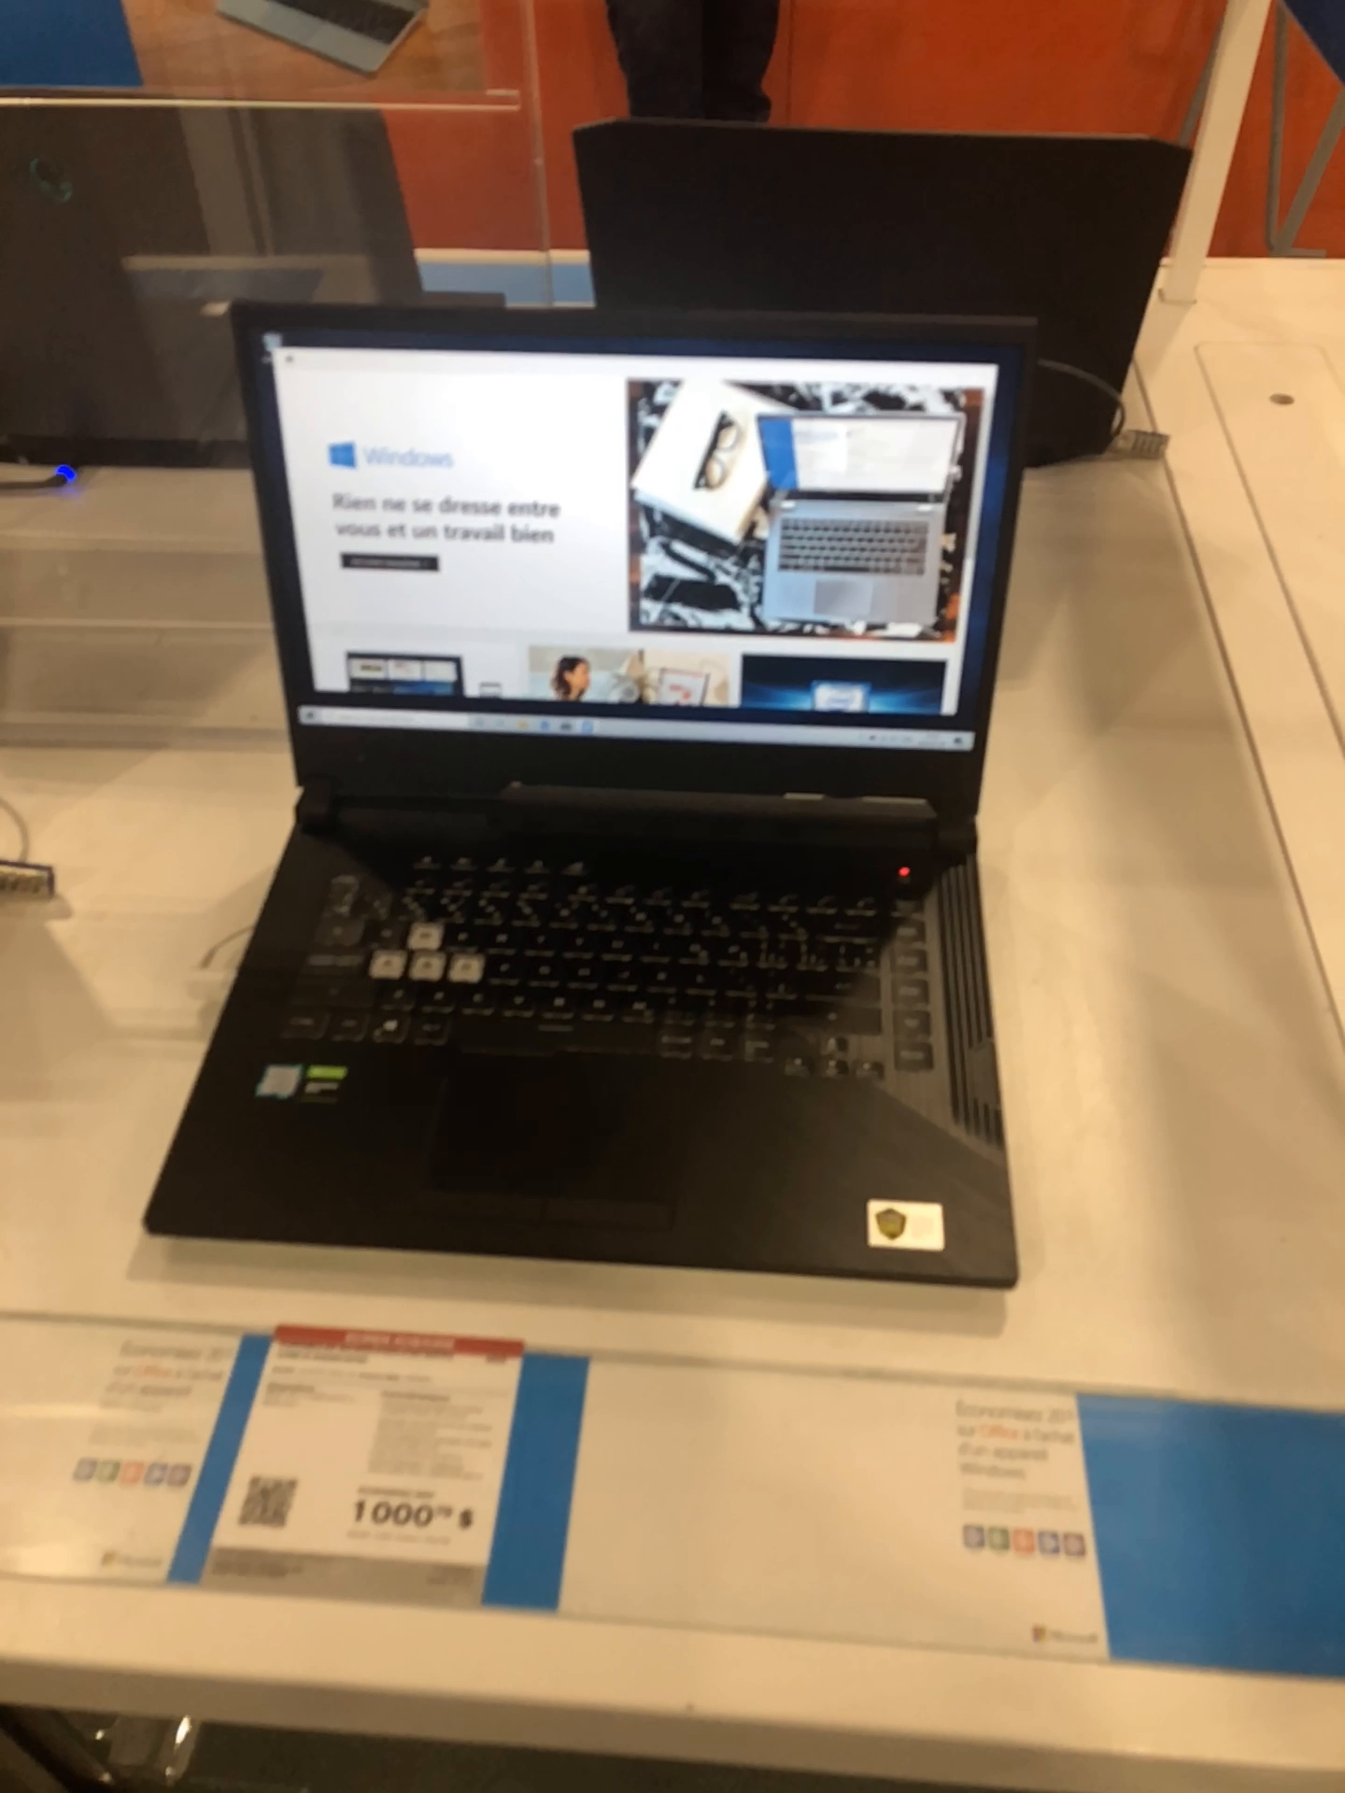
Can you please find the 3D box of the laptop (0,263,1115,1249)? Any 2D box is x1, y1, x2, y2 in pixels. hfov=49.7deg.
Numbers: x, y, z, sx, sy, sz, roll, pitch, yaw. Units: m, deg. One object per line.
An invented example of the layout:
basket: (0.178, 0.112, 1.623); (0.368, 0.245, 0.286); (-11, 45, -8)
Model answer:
laptop: (-0.029, -0.073, 0.645); (0.363, 0.236, 0.346); (2, 49, 4)
